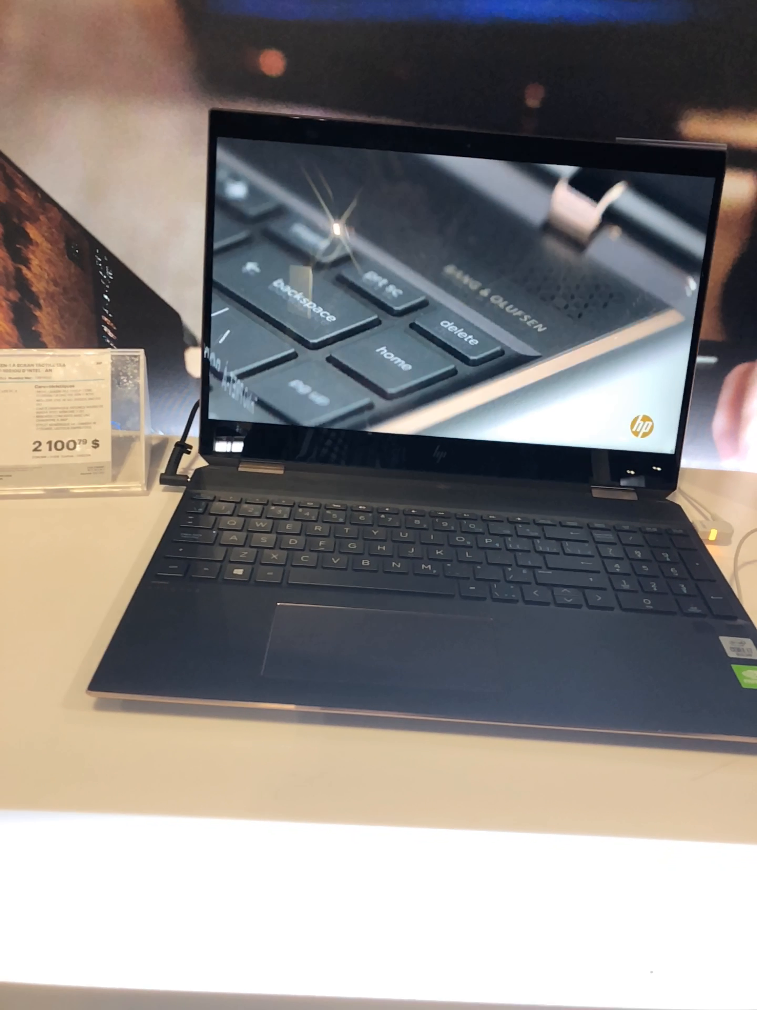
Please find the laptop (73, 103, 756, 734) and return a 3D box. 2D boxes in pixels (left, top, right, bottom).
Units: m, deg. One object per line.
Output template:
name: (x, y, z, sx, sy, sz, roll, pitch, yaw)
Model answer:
laptop: (0.058, -0.079, 0.473, 0.332, 0.226, 0.323, 4, 27, -4)
